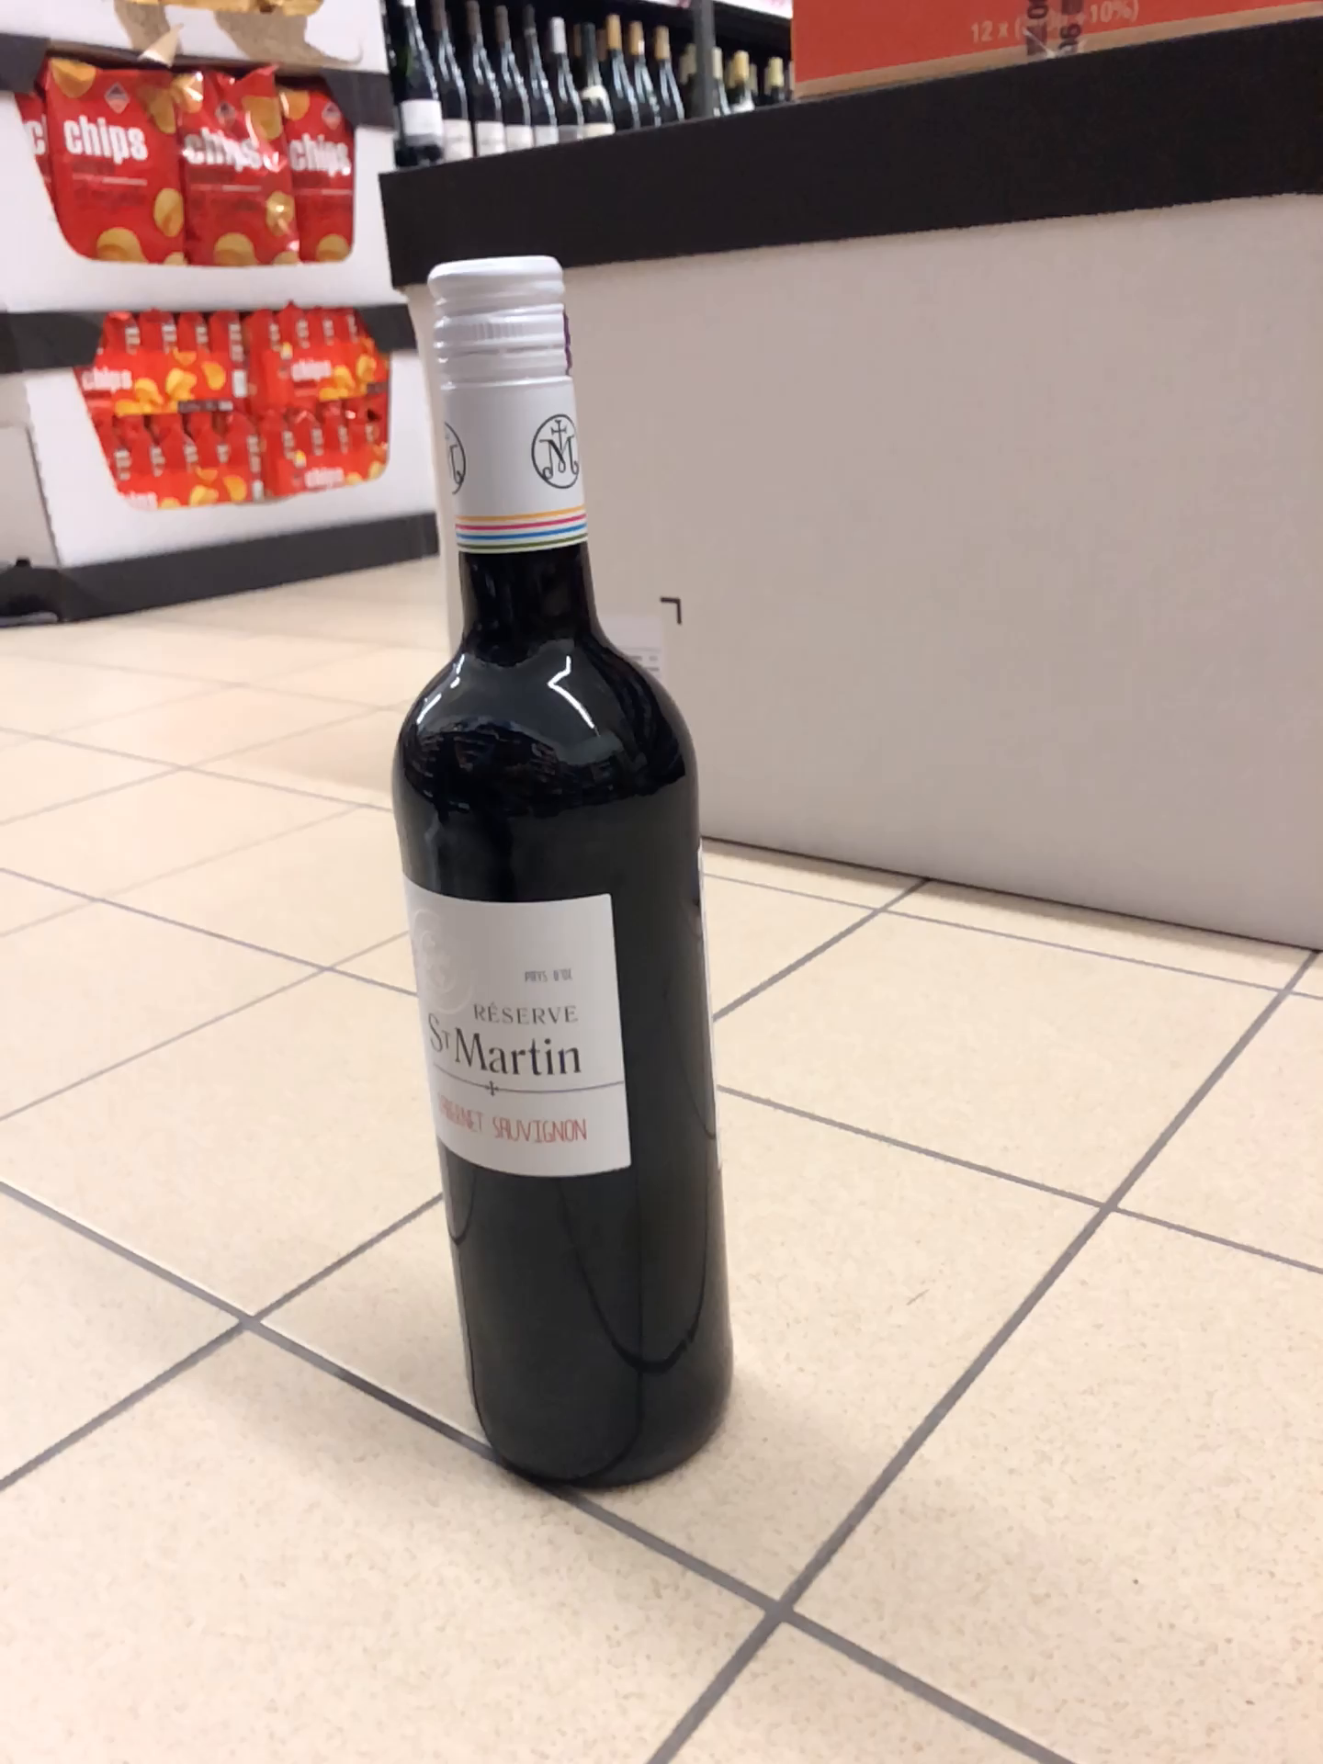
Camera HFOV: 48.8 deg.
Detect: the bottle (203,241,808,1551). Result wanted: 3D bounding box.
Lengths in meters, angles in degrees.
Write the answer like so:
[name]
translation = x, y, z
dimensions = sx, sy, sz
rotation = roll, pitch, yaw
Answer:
[bottle]
translation = -0.028, 0.005, 0.358
dimensions = 0.090, 0.289, 0.080
rotation = 10, 23, 35
